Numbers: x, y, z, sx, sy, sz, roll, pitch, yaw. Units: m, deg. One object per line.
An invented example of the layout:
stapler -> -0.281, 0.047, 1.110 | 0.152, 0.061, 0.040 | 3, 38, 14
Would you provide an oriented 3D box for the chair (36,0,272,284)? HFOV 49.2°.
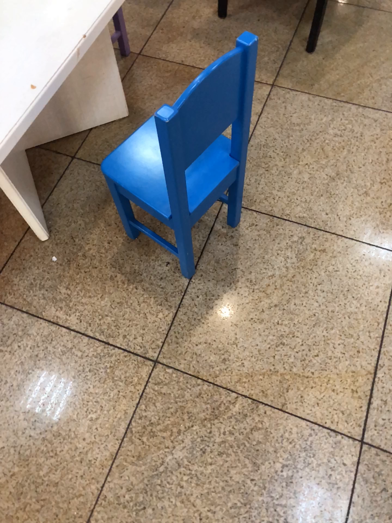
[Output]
chair -> -0.067, -0.271, 1.086 | 0.330, 0.649, 0.290 | 35, 70, 18
